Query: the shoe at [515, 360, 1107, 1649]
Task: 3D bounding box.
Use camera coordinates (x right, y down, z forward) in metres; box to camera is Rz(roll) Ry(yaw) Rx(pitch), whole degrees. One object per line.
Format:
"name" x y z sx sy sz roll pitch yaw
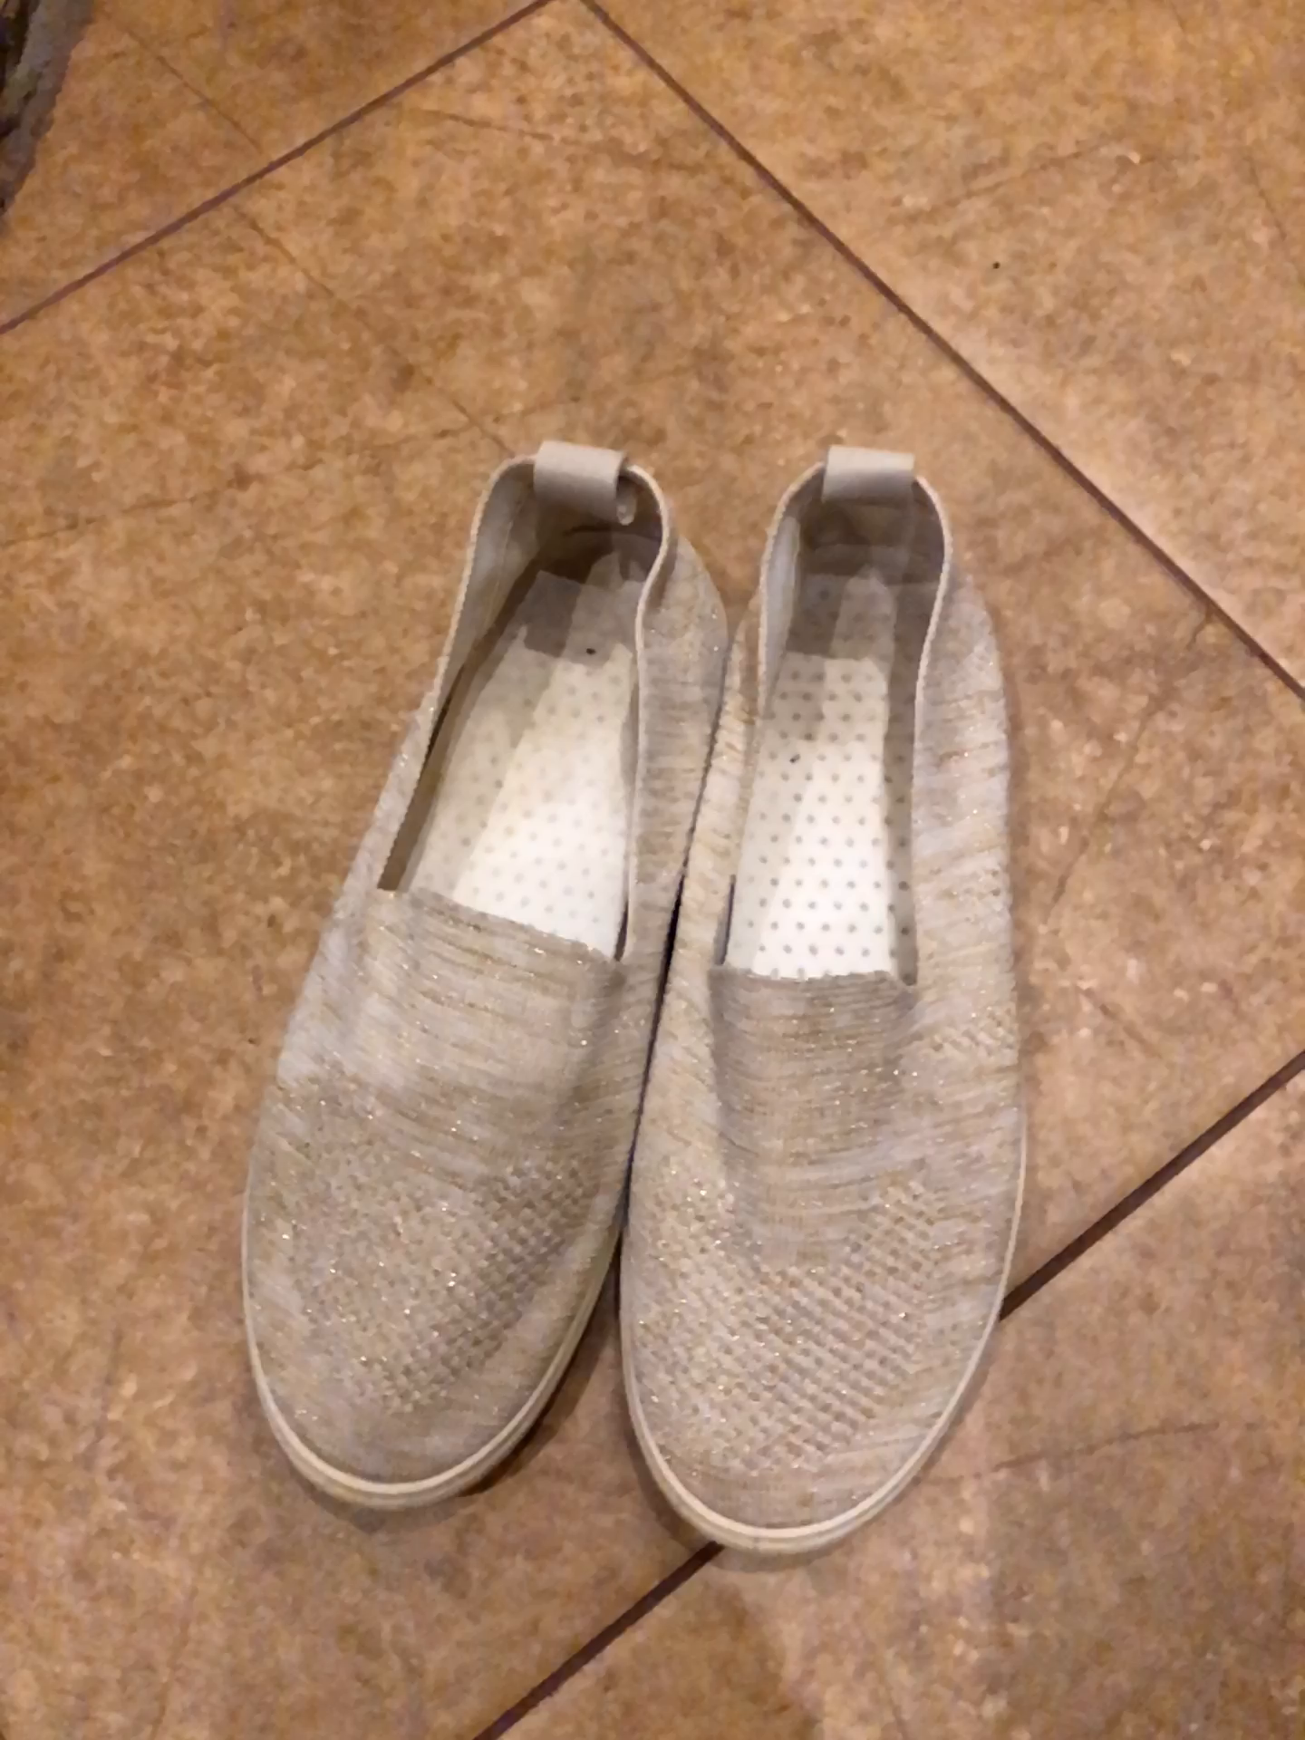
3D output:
"shoe" 0.042 0.019 0.332 0.100 0.080 0.261 5 71 6

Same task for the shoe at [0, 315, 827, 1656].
"shoe" -0.034 0.014 0.314 0.090 0.080 0.251 12 72 8
